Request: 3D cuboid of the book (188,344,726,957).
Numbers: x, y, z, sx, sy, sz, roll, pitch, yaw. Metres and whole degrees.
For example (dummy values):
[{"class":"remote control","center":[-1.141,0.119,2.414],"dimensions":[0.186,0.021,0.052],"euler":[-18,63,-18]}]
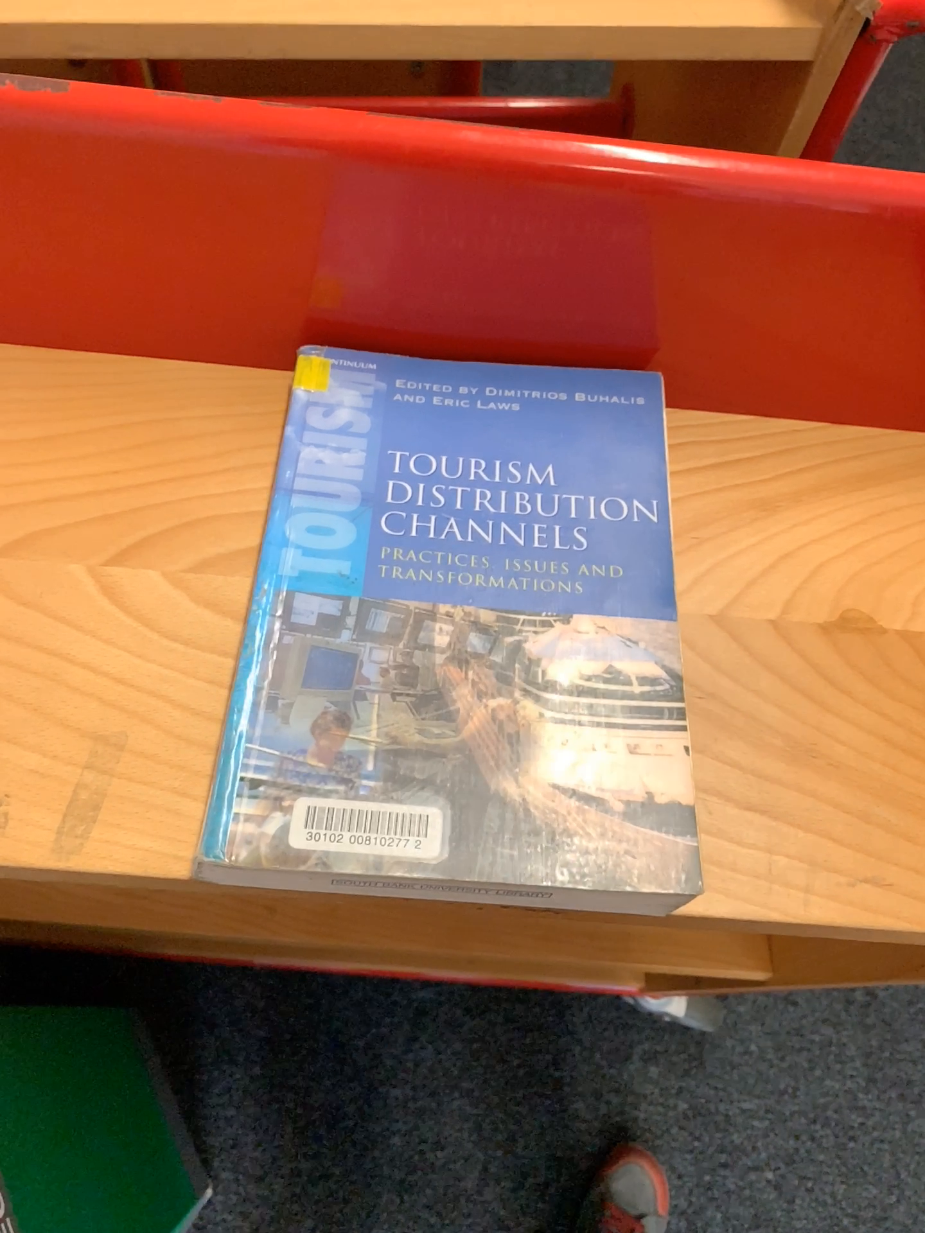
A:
[{"class":"book","center":[0.005,-0.002,0.370],"dimensions":[0.167,0.031,0.239],"euler":[6,59,-3]}]
